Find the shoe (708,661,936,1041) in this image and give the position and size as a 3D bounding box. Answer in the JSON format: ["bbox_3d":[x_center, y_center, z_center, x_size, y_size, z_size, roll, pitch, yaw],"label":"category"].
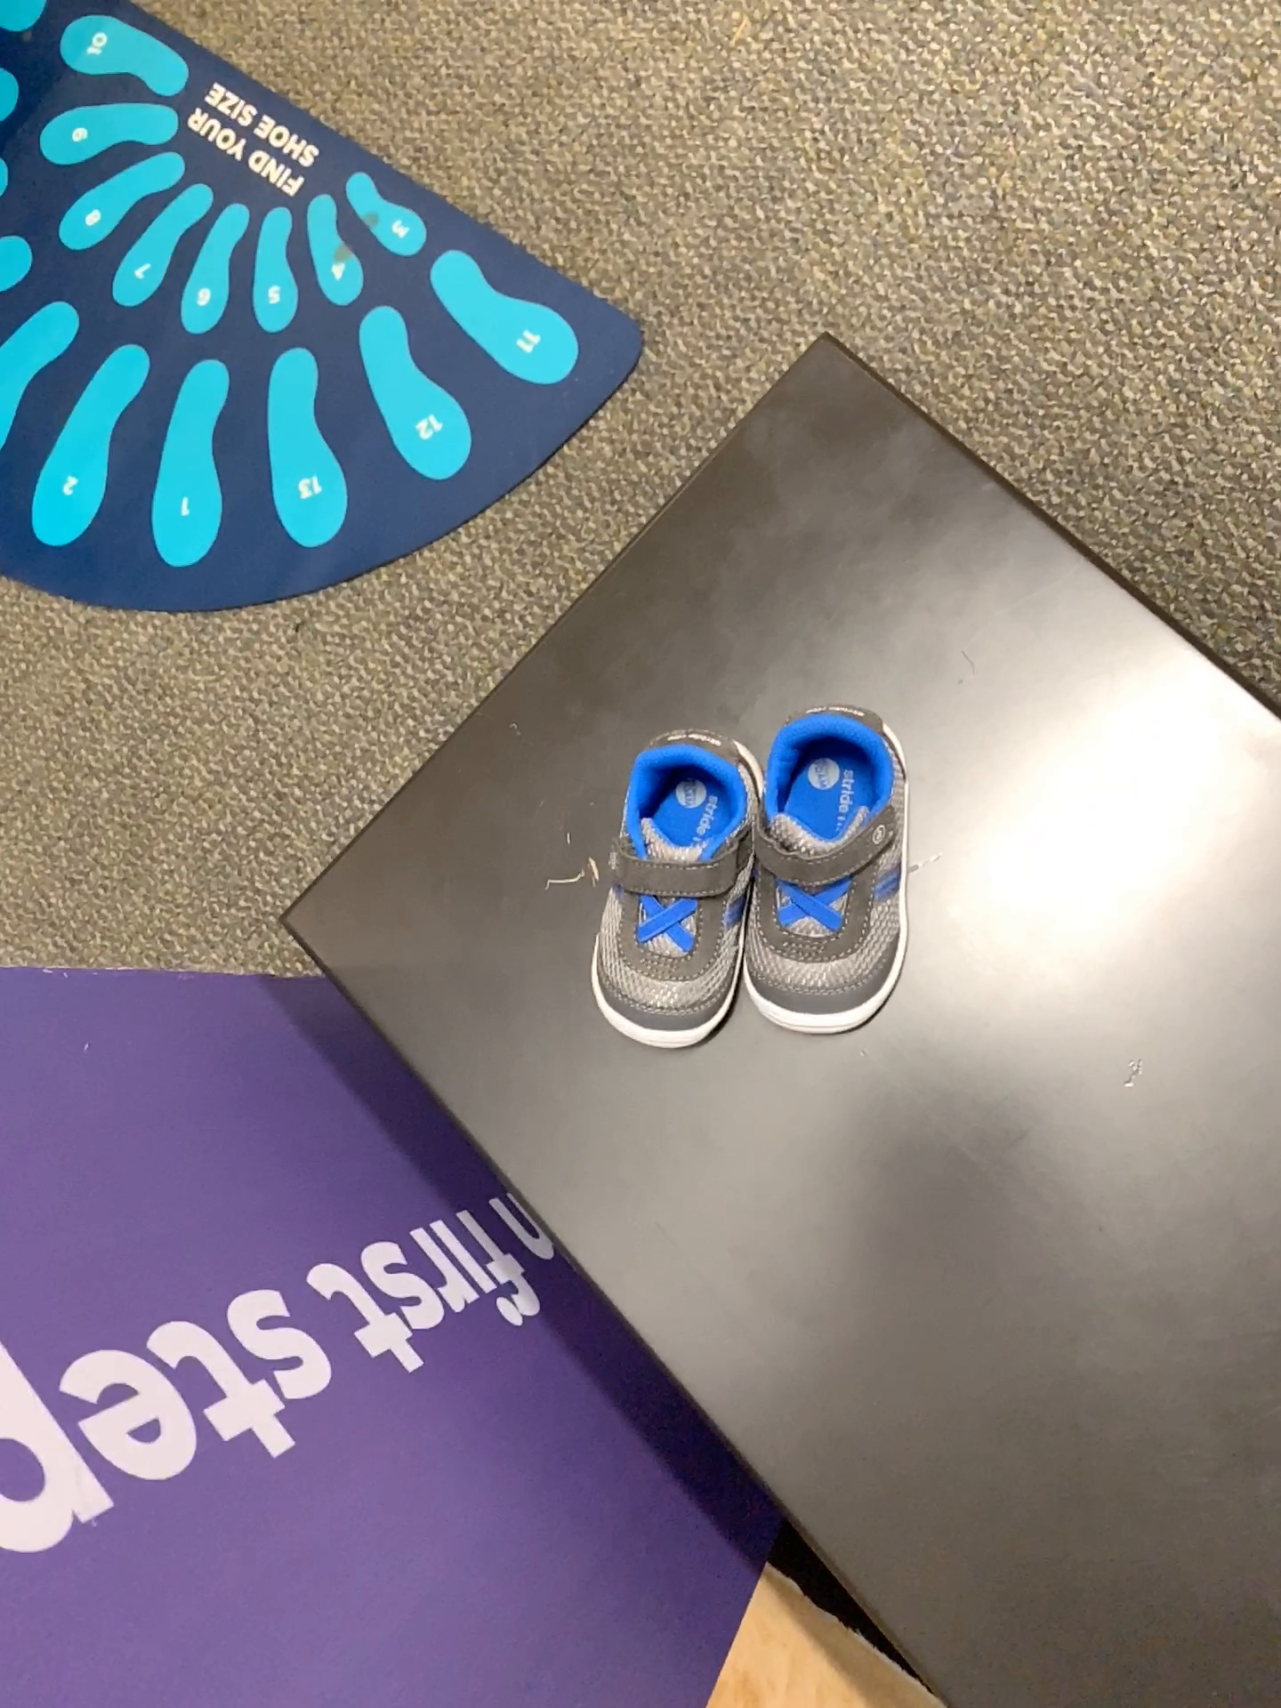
[{"bbox_3d":[0.075,0.000,0.527,0.070,0.060,0.140,5,85,16],"label":"shoe"}]

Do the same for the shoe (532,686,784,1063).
[{"bbox_3d":[0.009,0.009,0.541,0.070,0.060,0.140,8,86,16],"label":"shoe"}]
